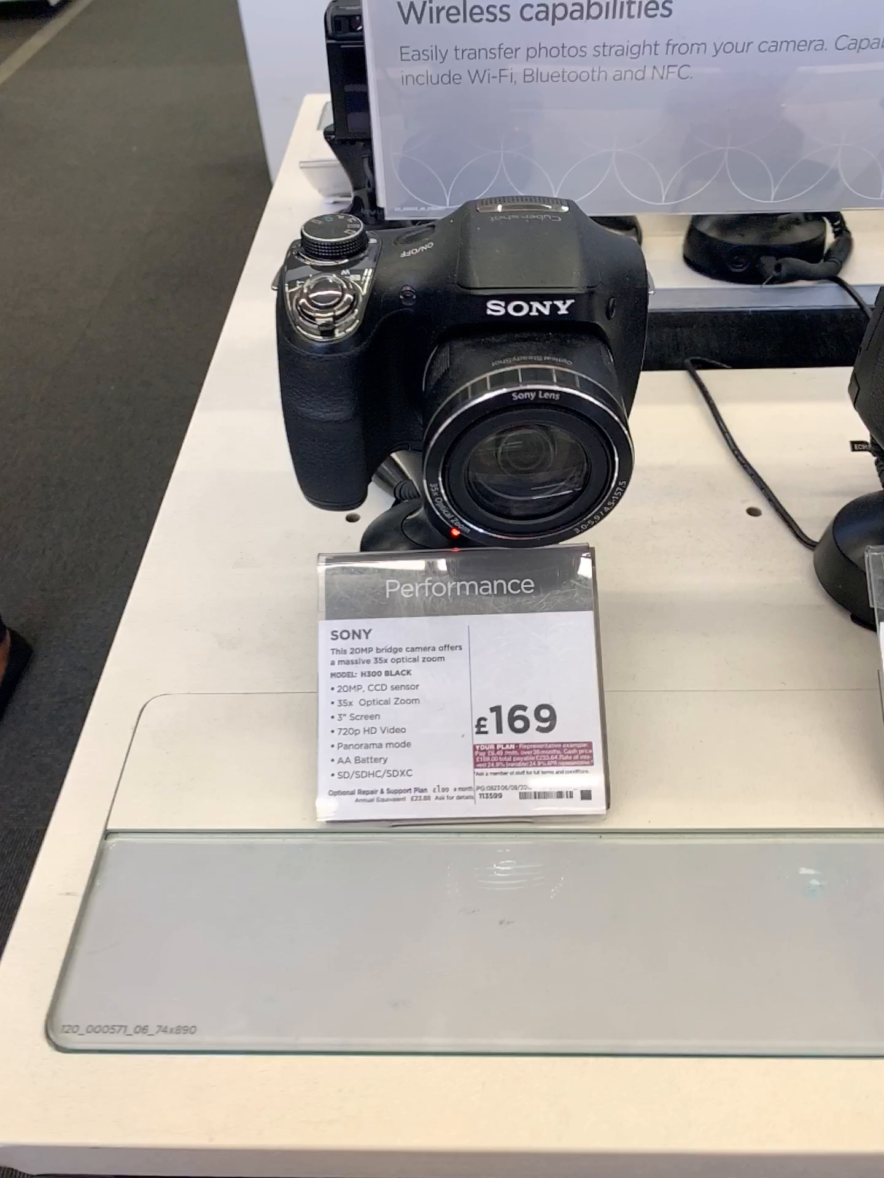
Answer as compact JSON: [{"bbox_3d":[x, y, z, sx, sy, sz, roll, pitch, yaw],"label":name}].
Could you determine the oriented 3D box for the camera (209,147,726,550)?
[{"bbox_3d":[0.008,-0.077,0.293,0.130,0.089,0.091,-1,46,2],"label":"camera"}]
